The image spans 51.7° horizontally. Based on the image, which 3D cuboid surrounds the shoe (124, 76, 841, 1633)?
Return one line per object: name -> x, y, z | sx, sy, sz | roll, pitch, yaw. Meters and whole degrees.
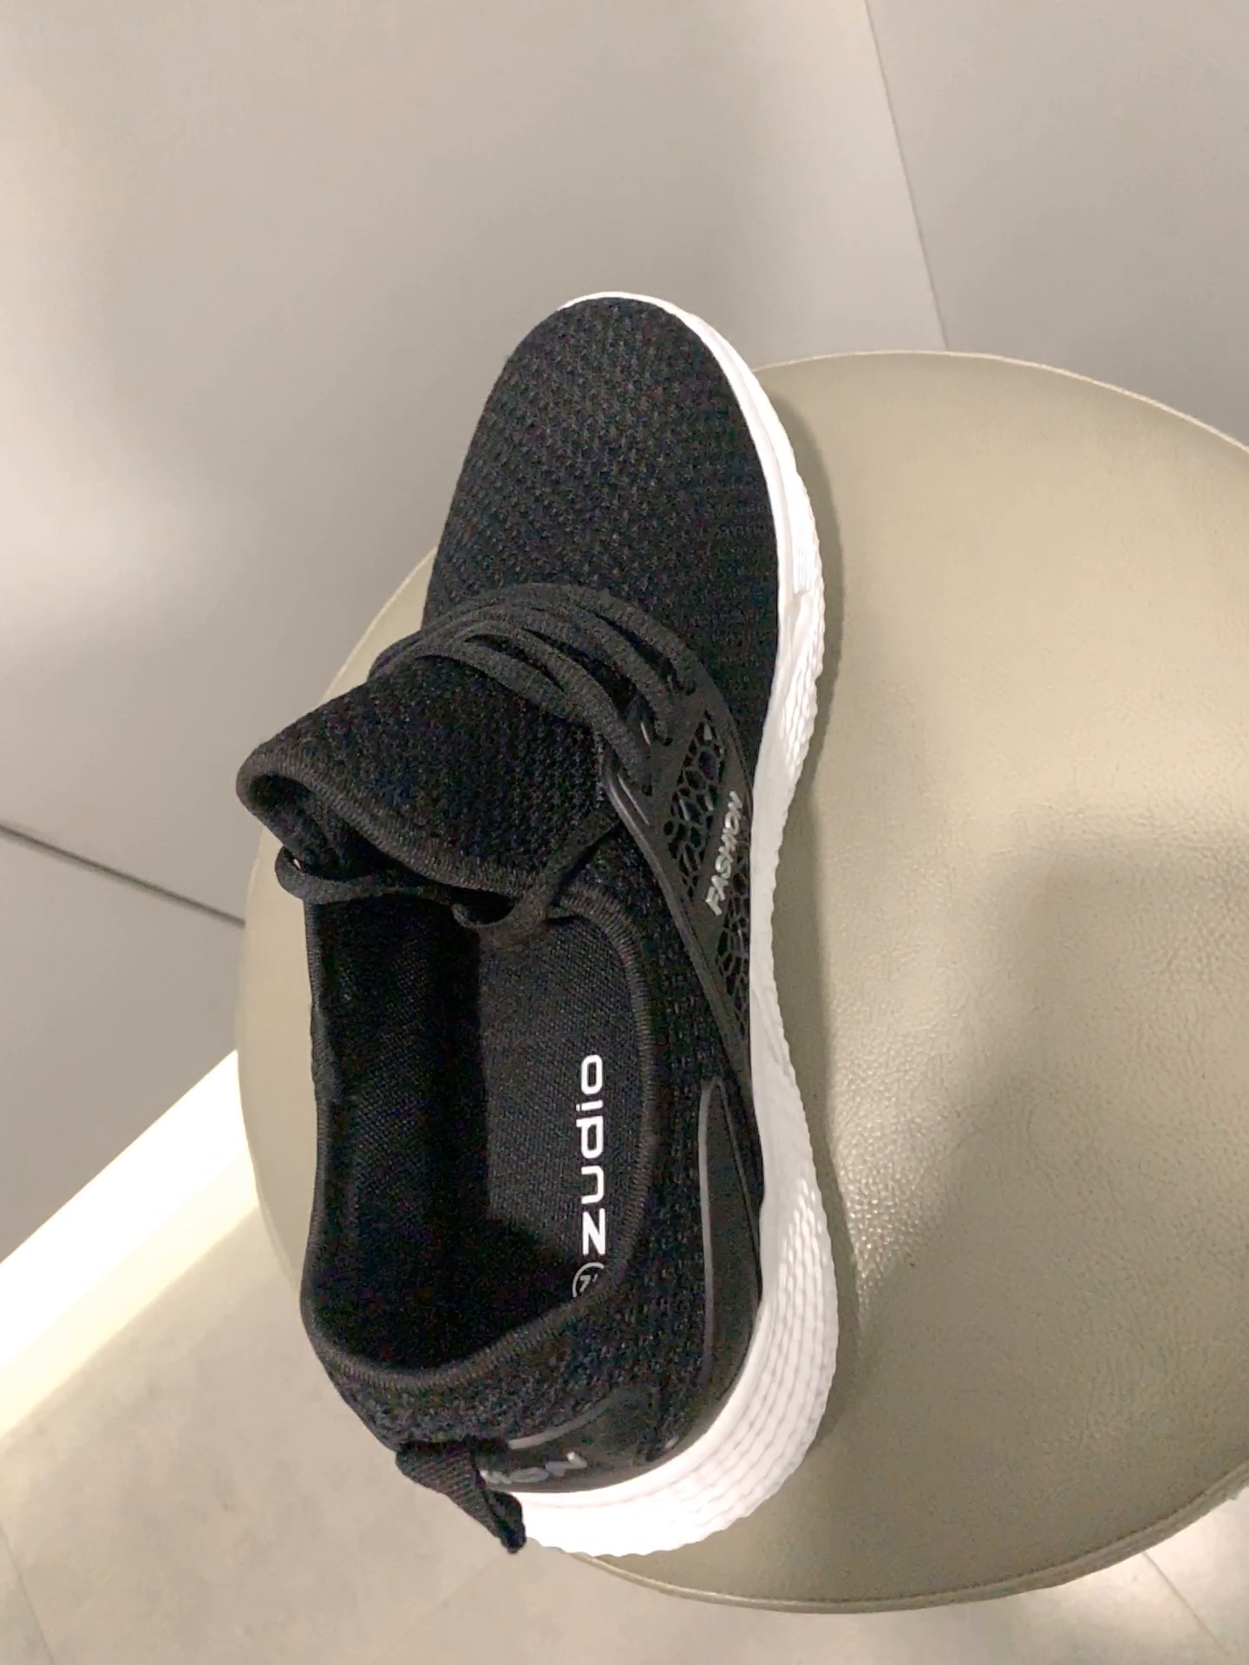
shoe -> -0.012, -0.003, 0.296 | 0.100, 0.110, 0.290 | -4, 71, 22
